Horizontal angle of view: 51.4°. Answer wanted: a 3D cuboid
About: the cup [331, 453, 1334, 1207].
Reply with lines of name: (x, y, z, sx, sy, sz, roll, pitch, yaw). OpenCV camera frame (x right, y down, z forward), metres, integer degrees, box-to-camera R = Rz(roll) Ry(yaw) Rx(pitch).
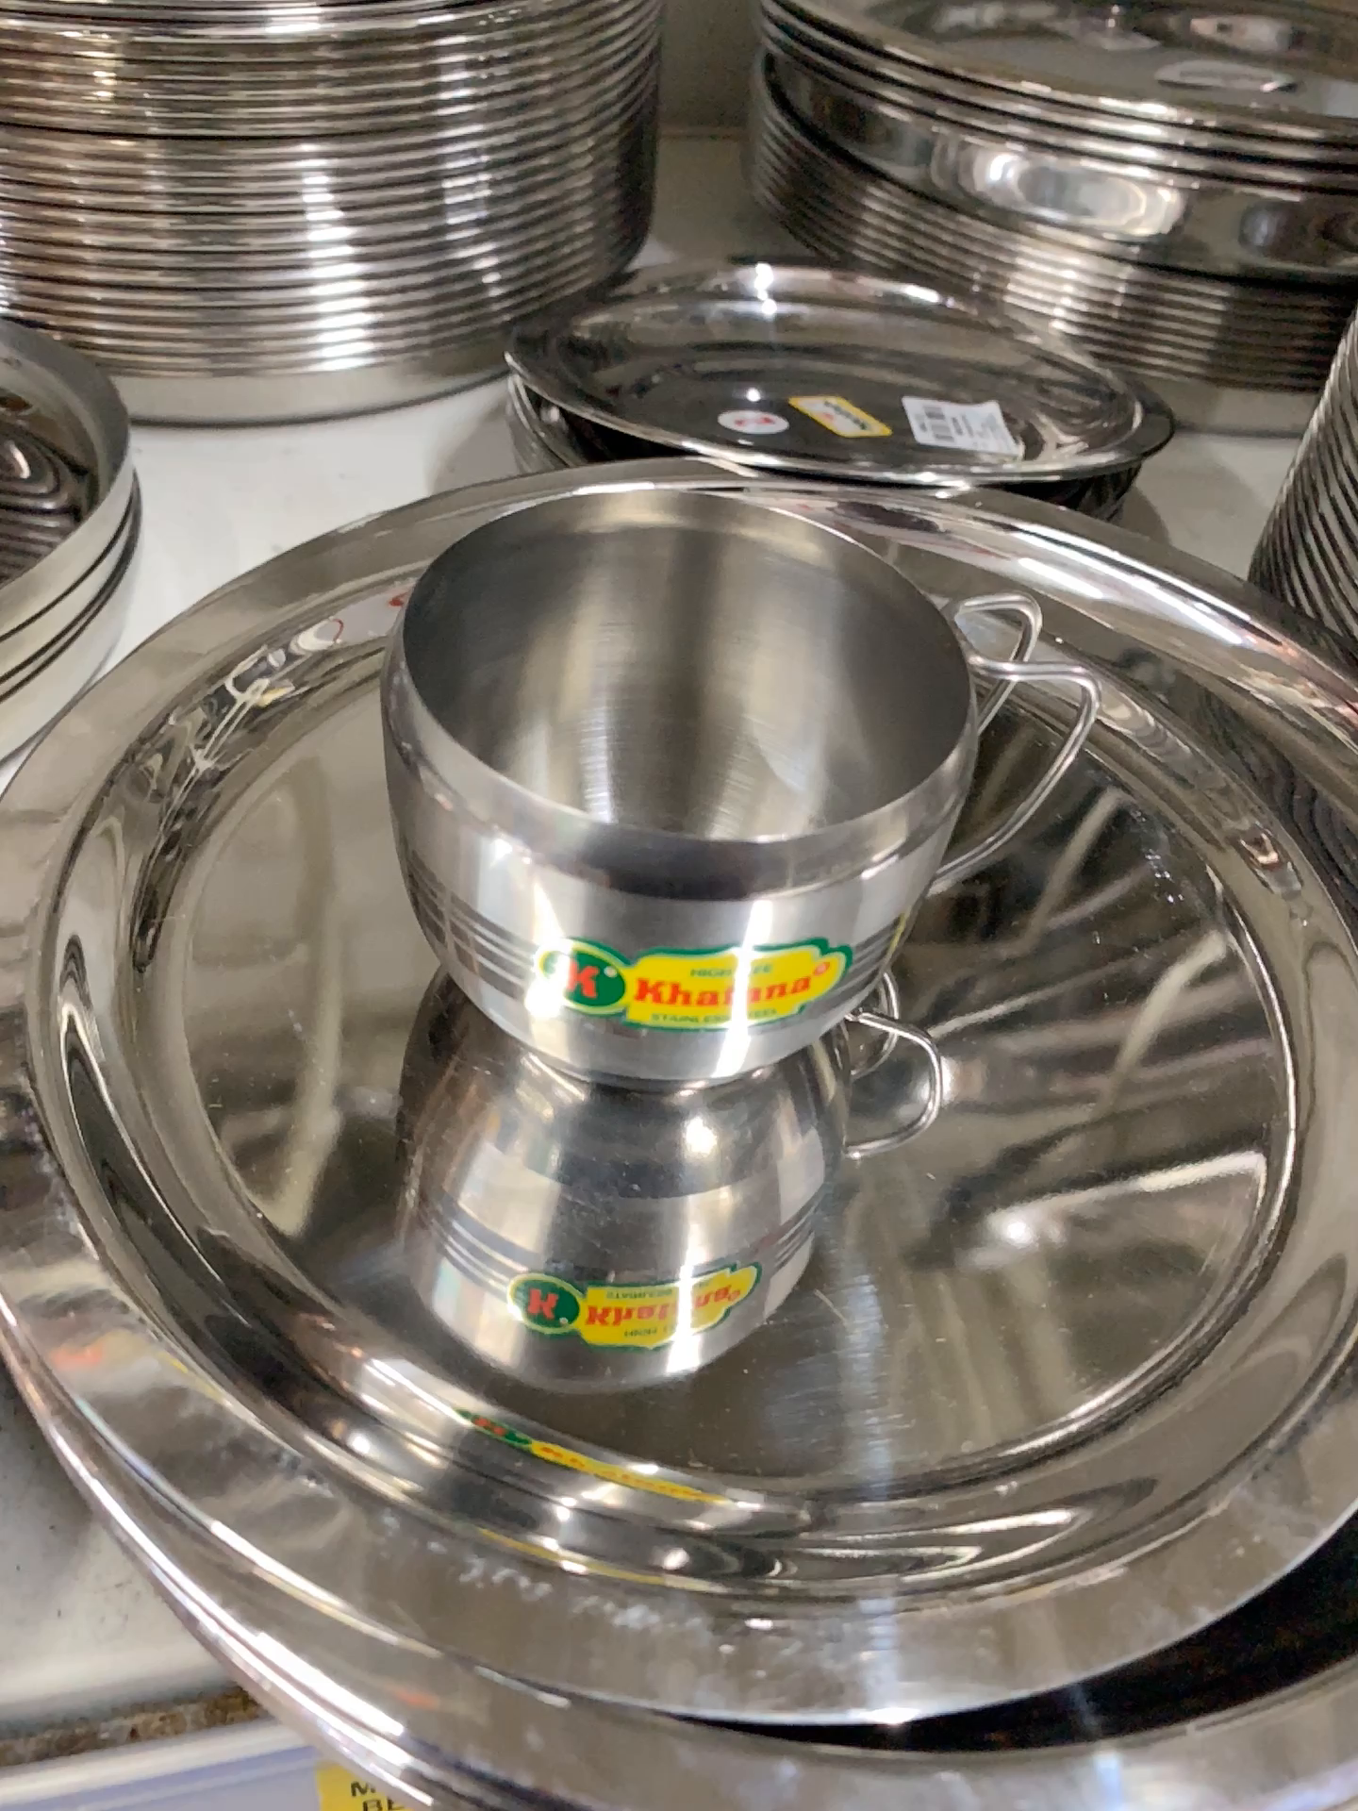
cup: (0.011, -0.014, 0.167, 0.090, 0.040, 0.070, -10, 48, -15)
